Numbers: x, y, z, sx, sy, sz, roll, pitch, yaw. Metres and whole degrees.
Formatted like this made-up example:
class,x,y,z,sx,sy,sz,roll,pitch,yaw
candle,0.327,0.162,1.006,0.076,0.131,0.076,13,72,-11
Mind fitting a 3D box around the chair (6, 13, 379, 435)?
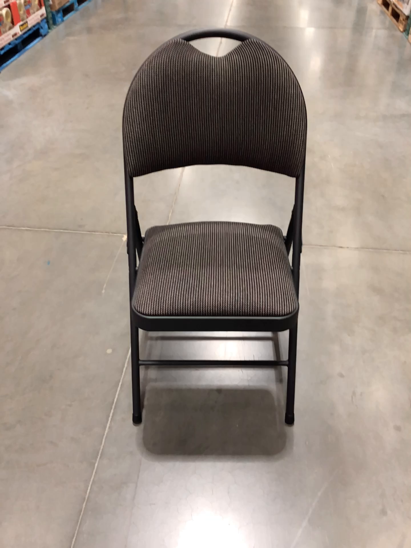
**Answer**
class,x,y,z,sx,sy,sz,roll,pitch,yaw
chair,-0.002,-0.093,1.126,0.520,0.867,0.562,2,42,3
